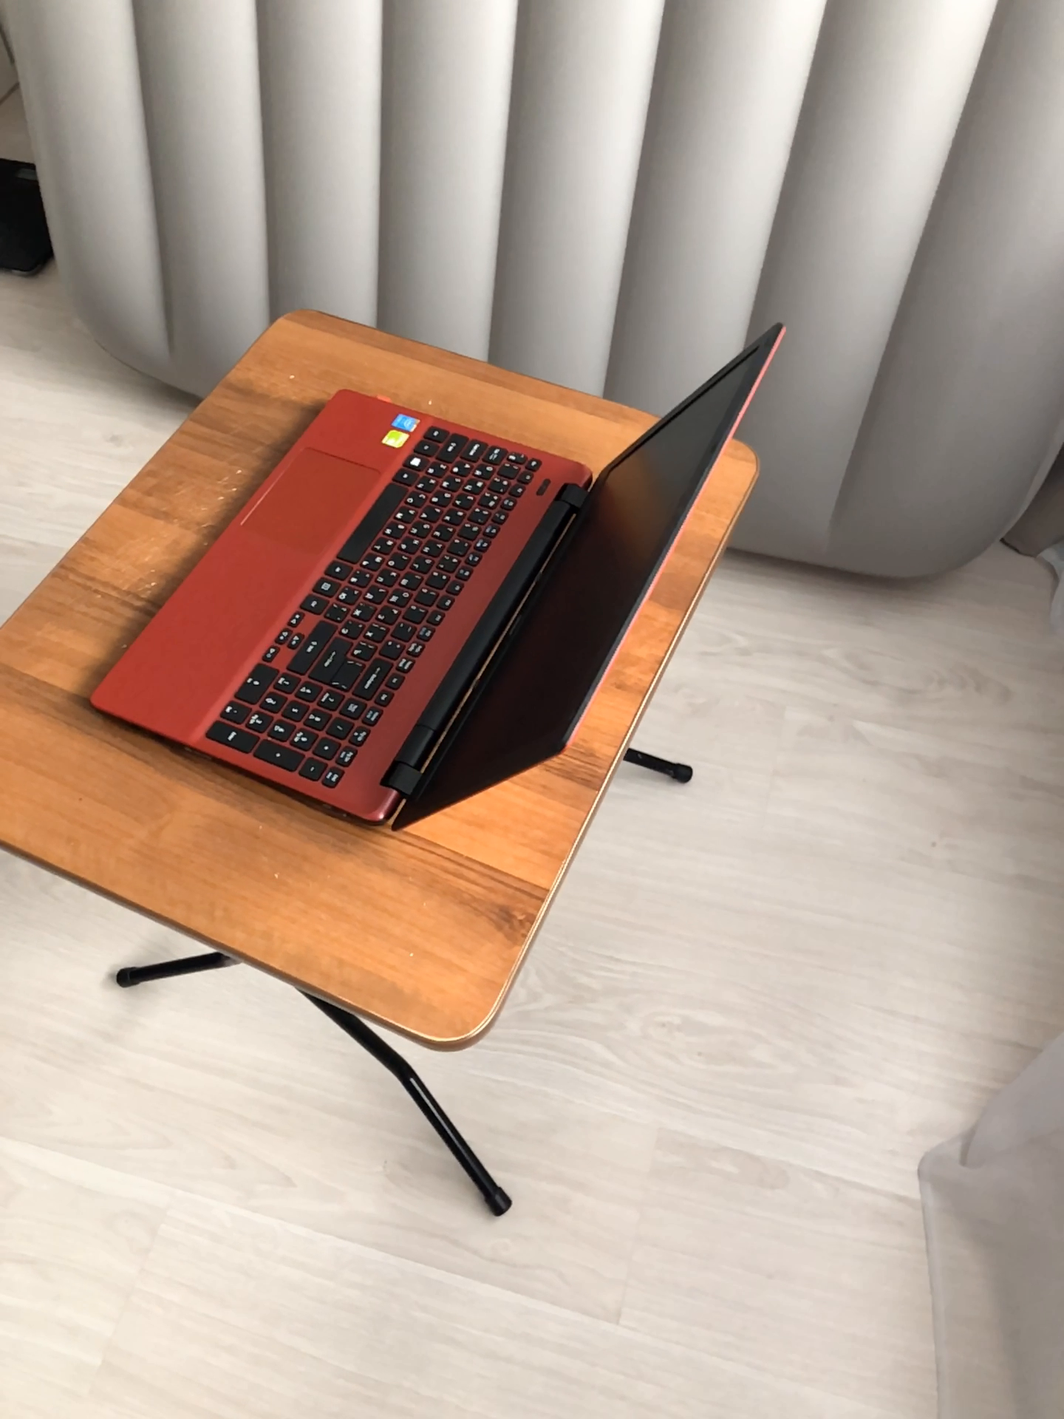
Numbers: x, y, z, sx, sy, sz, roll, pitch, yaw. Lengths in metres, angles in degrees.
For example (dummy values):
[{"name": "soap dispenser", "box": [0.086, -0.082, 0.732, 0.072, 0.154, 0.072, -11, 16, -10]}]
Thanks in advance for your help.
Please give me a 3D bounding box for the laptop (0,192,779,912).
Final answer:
[{"name": "laptop", "box": [-0.081, -0.131, 0.825, 0.381, 0.191, 0.372, 22, 59, 15]}]
